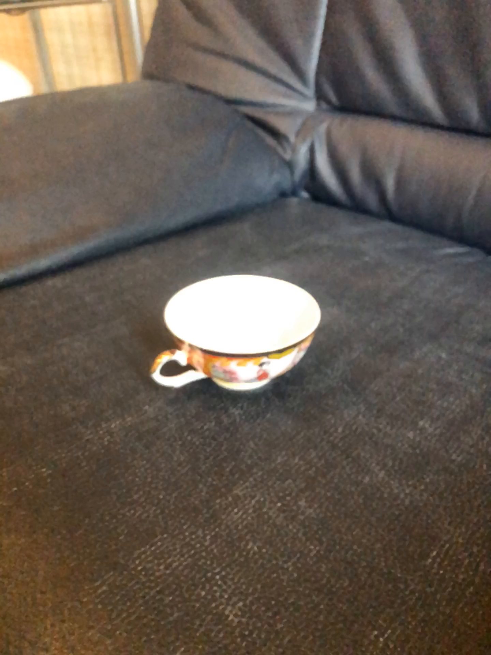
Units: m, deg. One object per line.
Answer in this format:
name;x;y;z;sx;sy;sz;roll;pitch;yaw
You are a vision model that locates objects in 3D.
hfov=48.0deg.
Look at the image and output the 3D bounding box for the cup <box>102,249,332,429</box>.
cup;-0.019;-0.001;0.358;0.107;0.041;0.100;-2;33;1
